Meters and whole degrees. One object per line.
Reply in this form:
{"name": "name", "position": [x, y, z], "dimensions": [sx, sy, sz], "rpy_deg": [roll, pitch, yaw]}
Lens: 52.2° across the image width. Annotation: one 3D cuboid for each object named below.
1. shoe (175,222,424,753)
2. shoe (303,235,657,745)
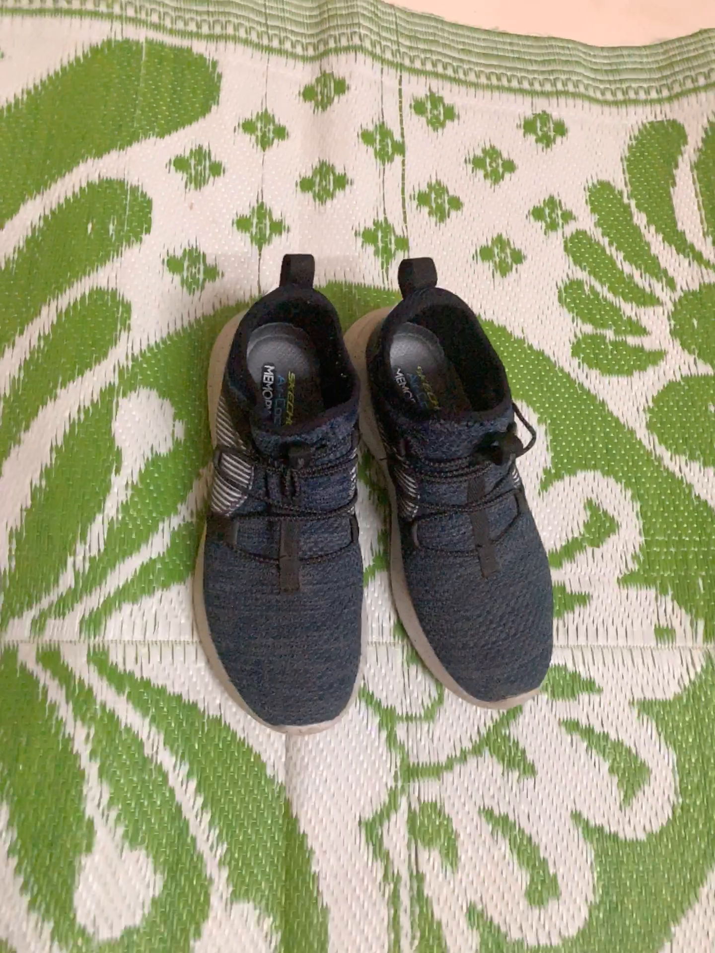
{"name": "shoe", "position": [-0.046, 0.001, 0.454], "dimensions": [0.110, 0.100, 0.301], "rpy_deg": [-4, 74, -11]}
{"name": "shoe", "position": [0.063, 0.006, 0.474], "dimensions": [0.110, 0.100, 0.290], "rpy_deg": [-15, 77, -14]}
